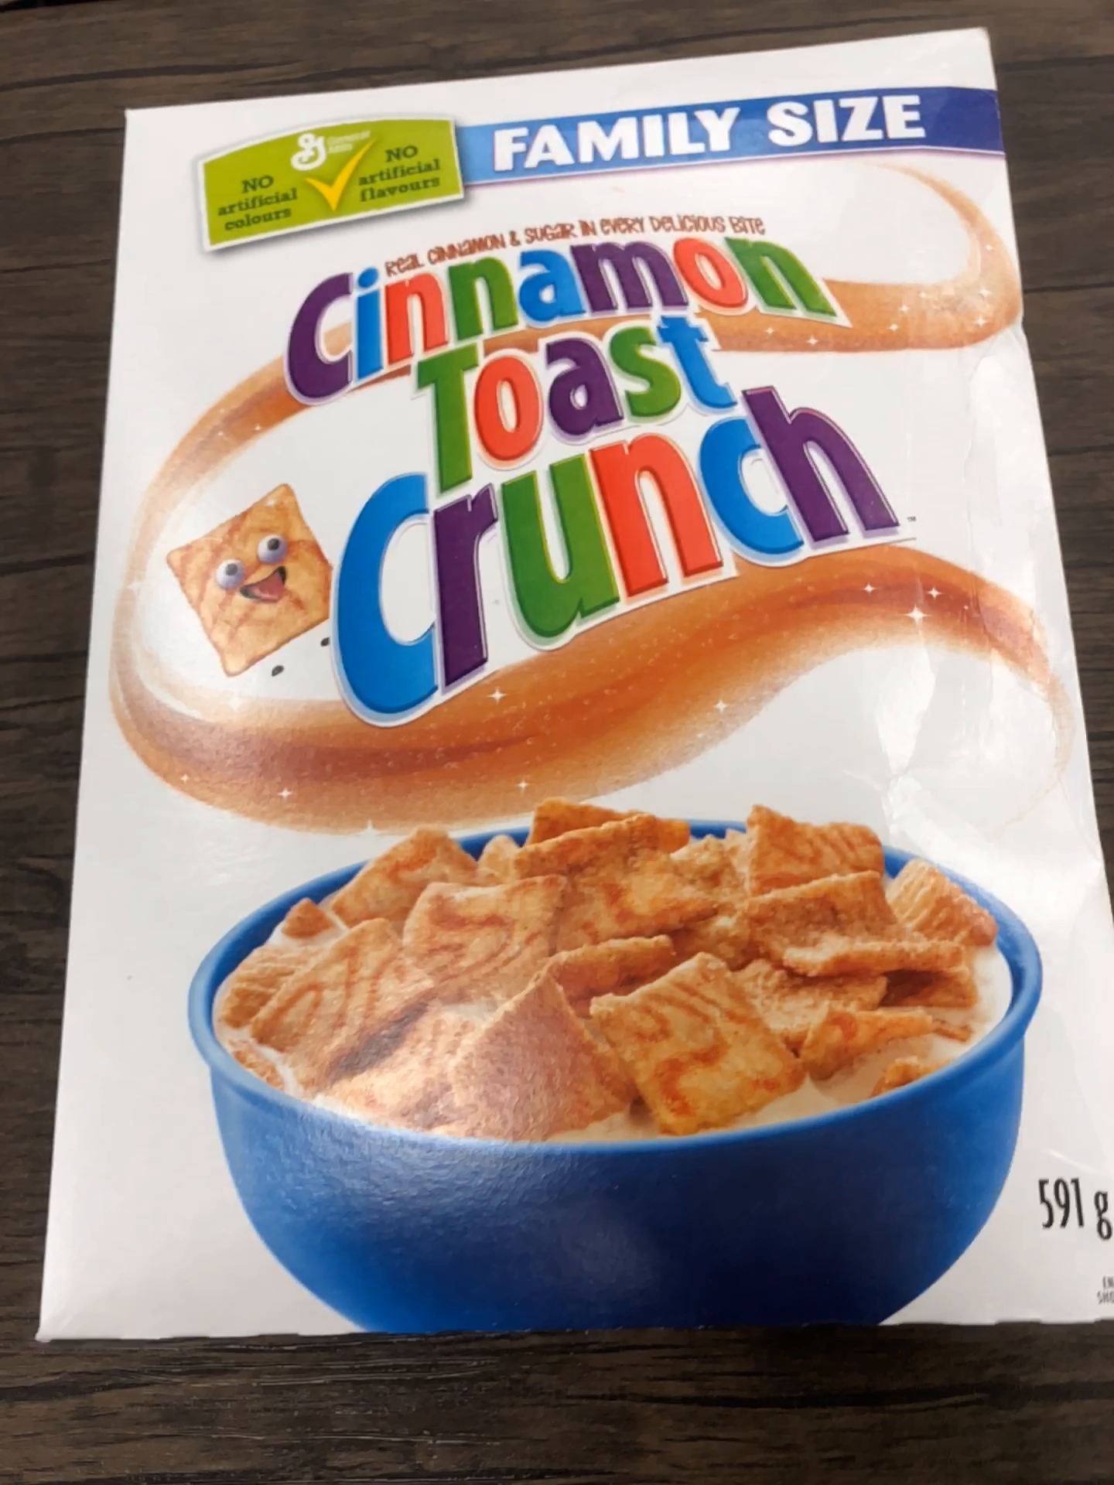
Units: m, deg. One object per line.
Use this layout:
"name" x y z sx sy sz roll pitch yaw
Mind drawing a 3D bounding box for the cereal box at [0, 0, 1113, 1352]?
"cereal box" 0.002 -0.040 0.343 0.250 0.070 0.360 -3 74 2
